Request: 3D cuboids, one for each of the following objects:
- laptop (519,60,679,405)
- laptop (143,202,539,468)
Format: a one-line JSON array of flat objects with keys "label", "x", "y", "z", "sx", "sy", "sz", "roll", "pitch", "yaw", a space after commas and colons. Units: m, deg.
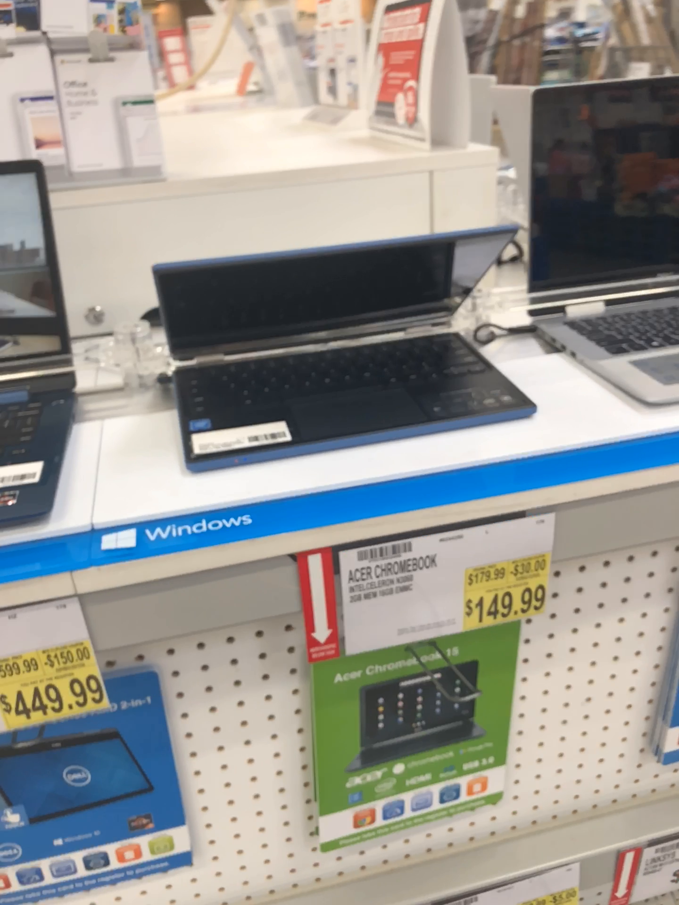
[{"label": "laptop", "x": 0.390, "y": -0.220, "z": 0.692, "sx": 0.354, "sy": 0.216, "sz": 0.247, "roll": -9, "pitch": 29, "yaw": -10}, {"label": "laptop", "x": -0.008, "y": -0.112, "z": 0.632, "sx": 0.279, "sy": 0.128, "sz": 0.185, "roll": -10, "pitch": 30, "yaw": -12}]
